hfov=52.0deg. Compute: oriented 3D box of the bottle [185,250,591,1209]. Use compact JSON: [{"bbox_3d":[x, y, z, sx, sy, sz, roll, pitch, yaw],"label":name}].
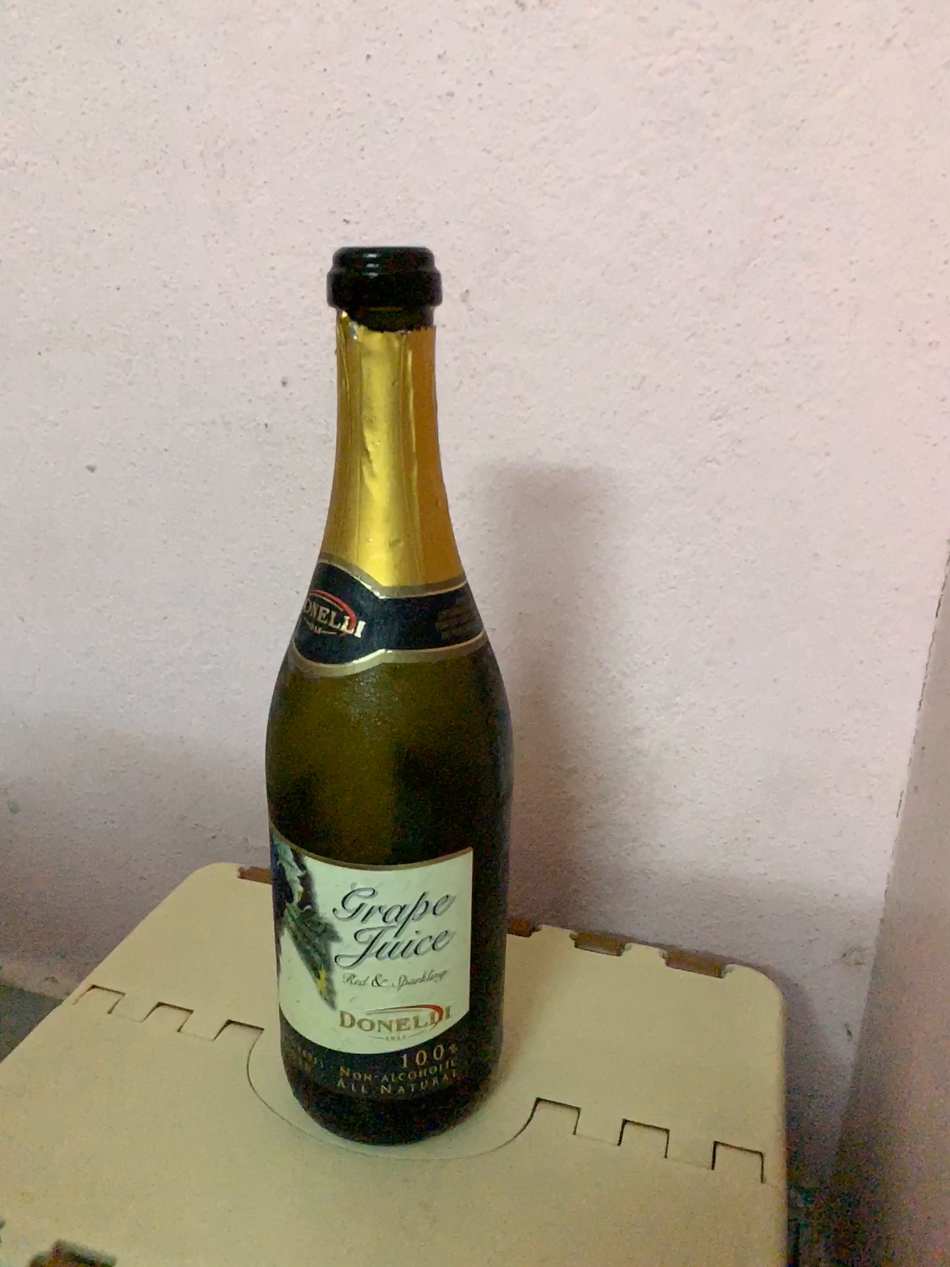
[{"bbox_3d":[-0.029,0.029,0.312,0.070,0.279,0.090,-15,25,-39],"label":"bottle"}]
